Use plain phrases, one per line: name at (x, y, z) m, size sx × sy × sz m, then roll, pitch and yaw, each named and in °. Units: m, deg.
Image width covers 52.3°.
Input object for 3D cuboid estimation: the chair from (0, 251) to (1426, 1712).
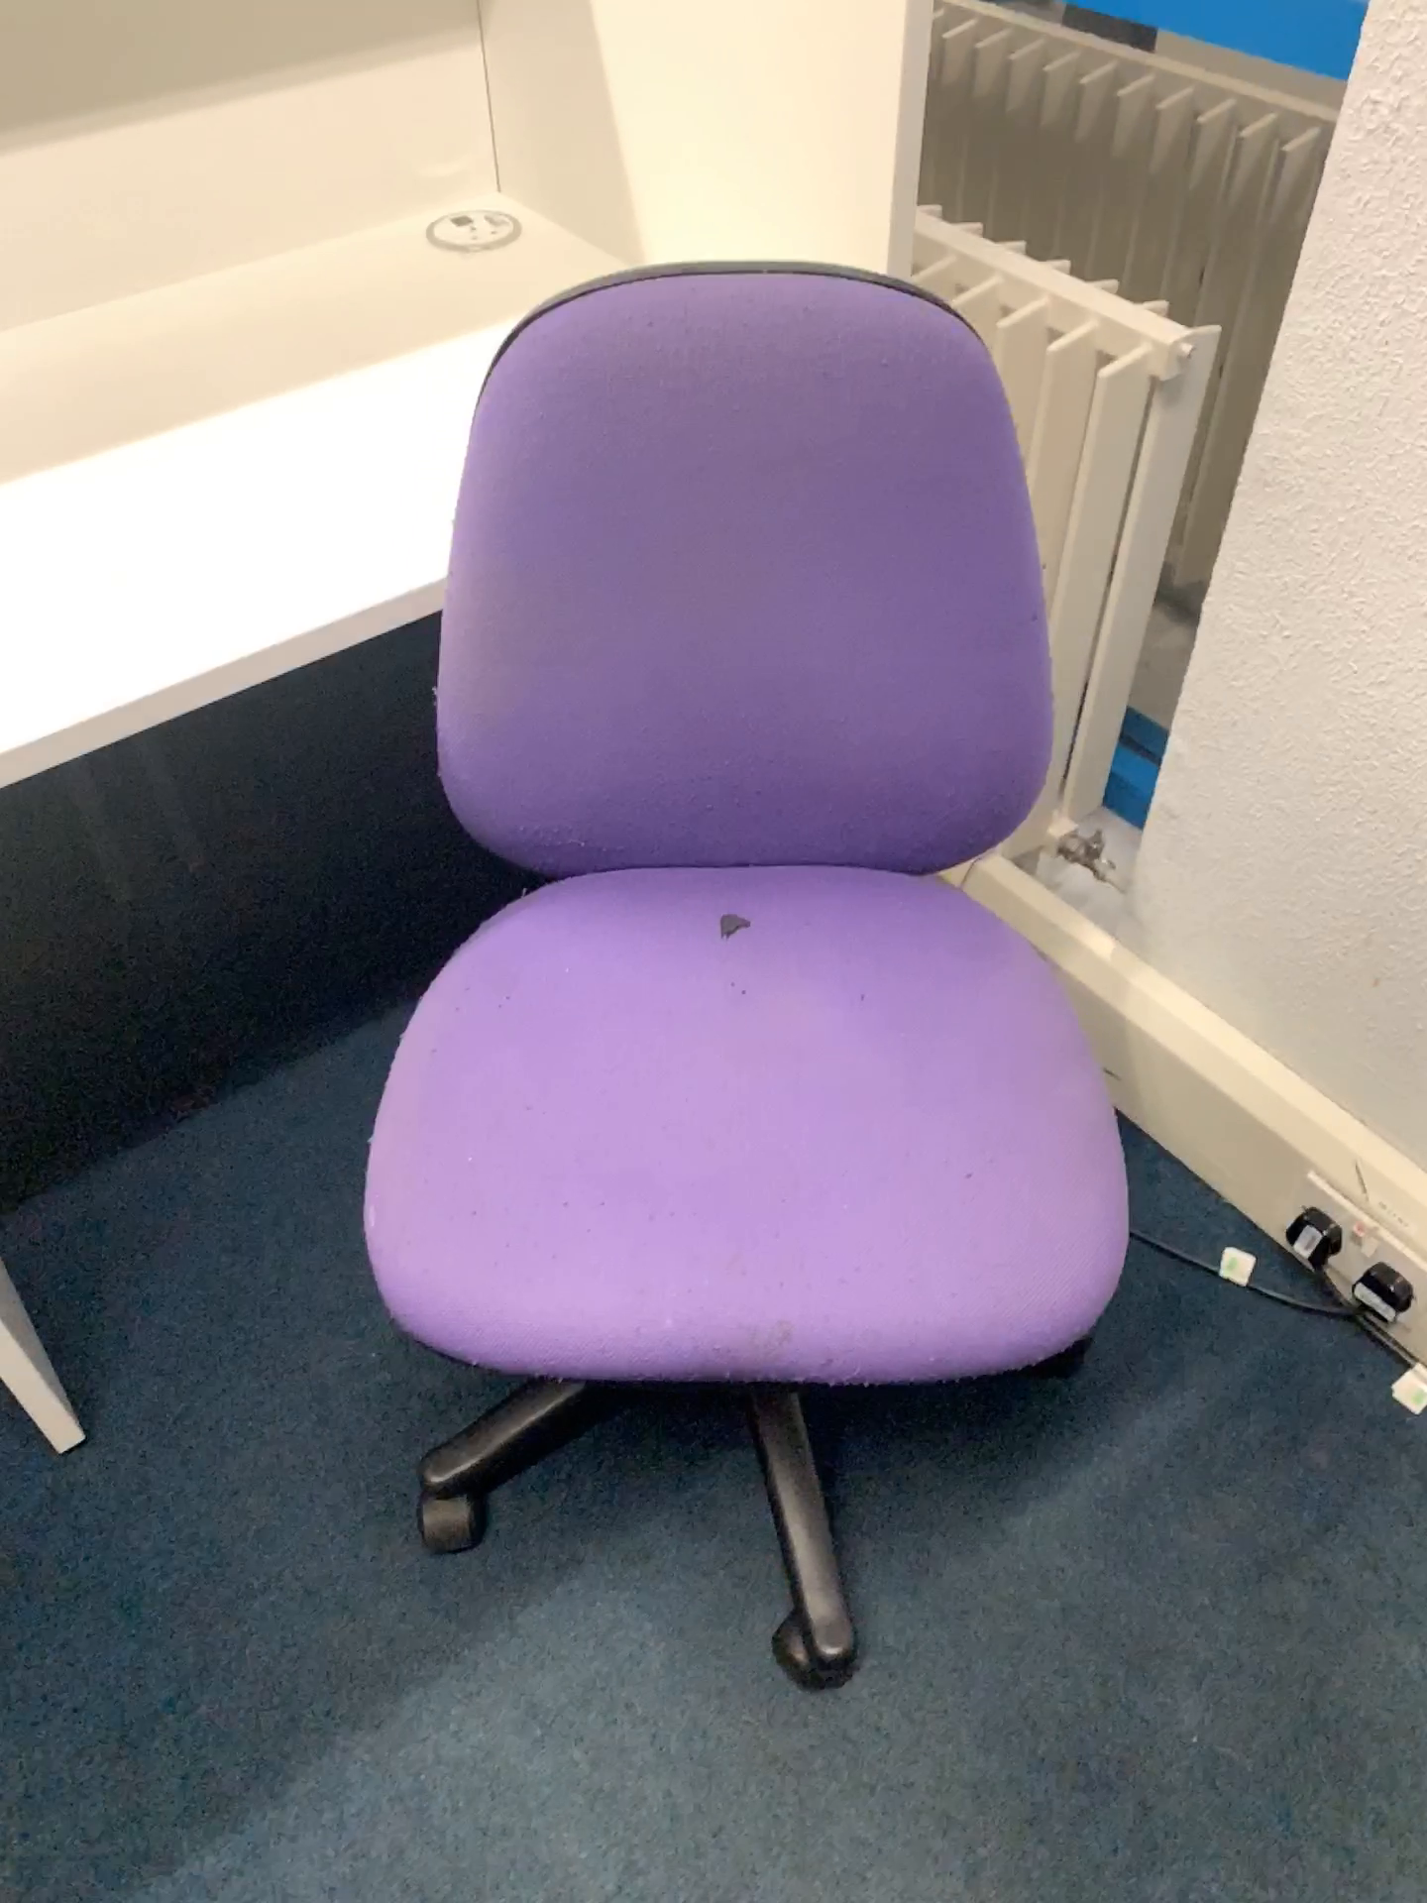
chair at (0.040, 0.060, 1.071) m, size 0.690 × 0.862 × 0.656 m, roll 1°, pitch 46°, yaw 2°
